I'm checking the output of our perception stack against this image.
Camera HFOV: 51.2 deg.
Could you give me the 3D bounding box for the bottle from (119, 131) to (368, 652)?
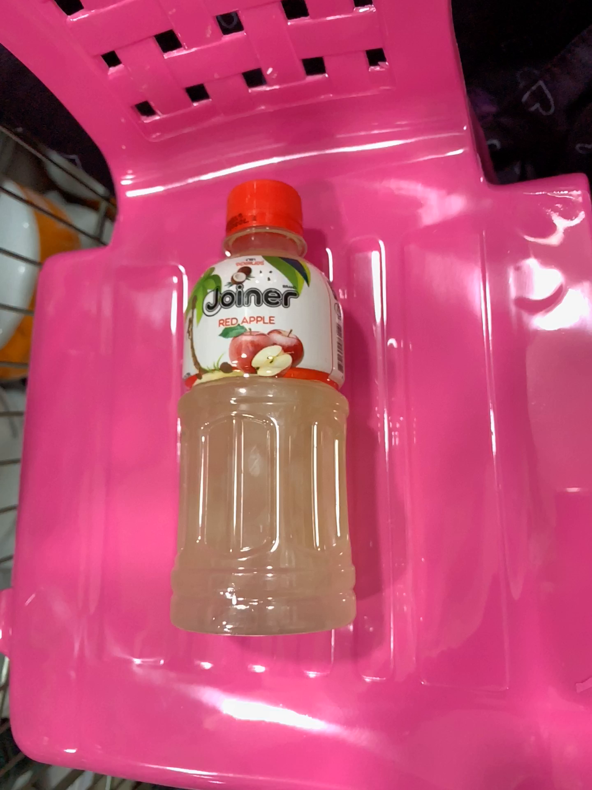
[{"bbox_3d":[-0.017,0.000,0.221,0.070,0.050,0.160,-4,80,17],"label":"bottle"}]
